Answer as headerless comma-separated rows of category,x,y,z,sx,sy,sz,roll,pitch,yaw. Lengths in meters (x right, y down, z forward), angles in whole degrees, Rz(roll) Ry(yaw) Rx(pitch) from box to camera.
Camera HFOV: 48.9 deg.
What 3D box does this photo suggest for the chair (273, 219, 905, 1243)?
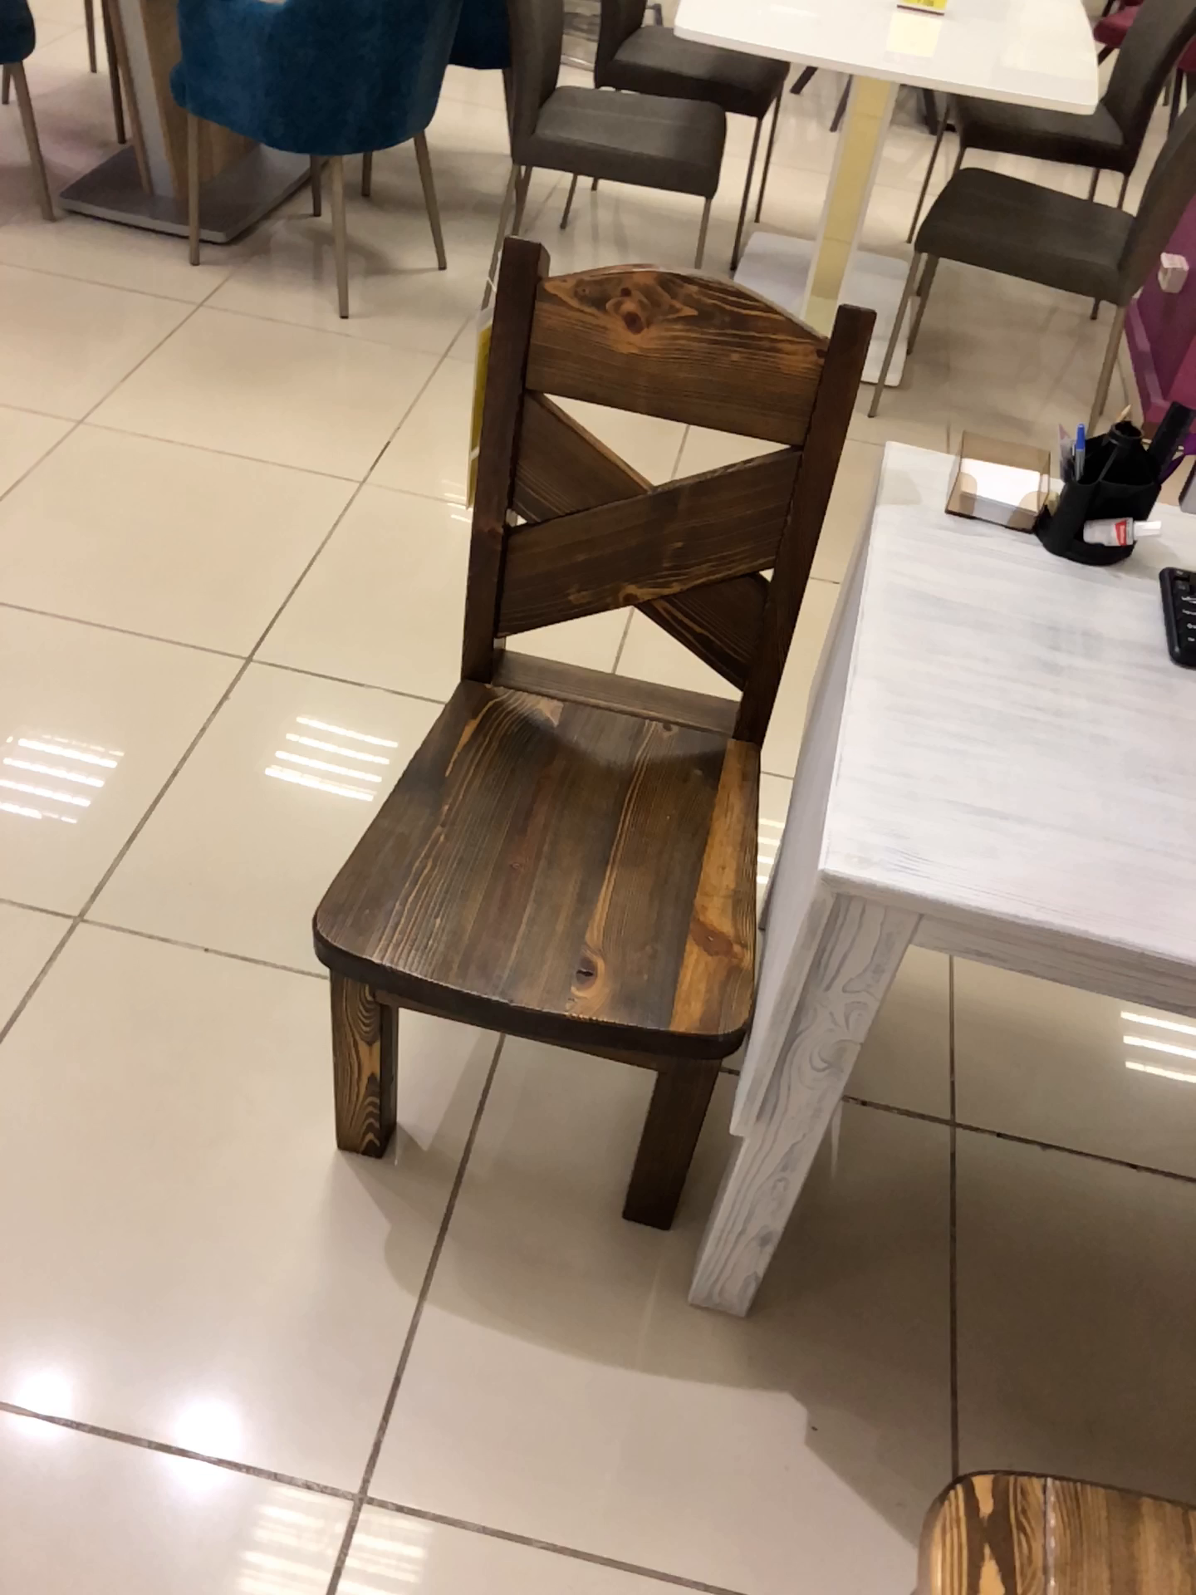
chair,-0.014,-0.040,1.449,0.450,0.895,0.573,12,43,3
